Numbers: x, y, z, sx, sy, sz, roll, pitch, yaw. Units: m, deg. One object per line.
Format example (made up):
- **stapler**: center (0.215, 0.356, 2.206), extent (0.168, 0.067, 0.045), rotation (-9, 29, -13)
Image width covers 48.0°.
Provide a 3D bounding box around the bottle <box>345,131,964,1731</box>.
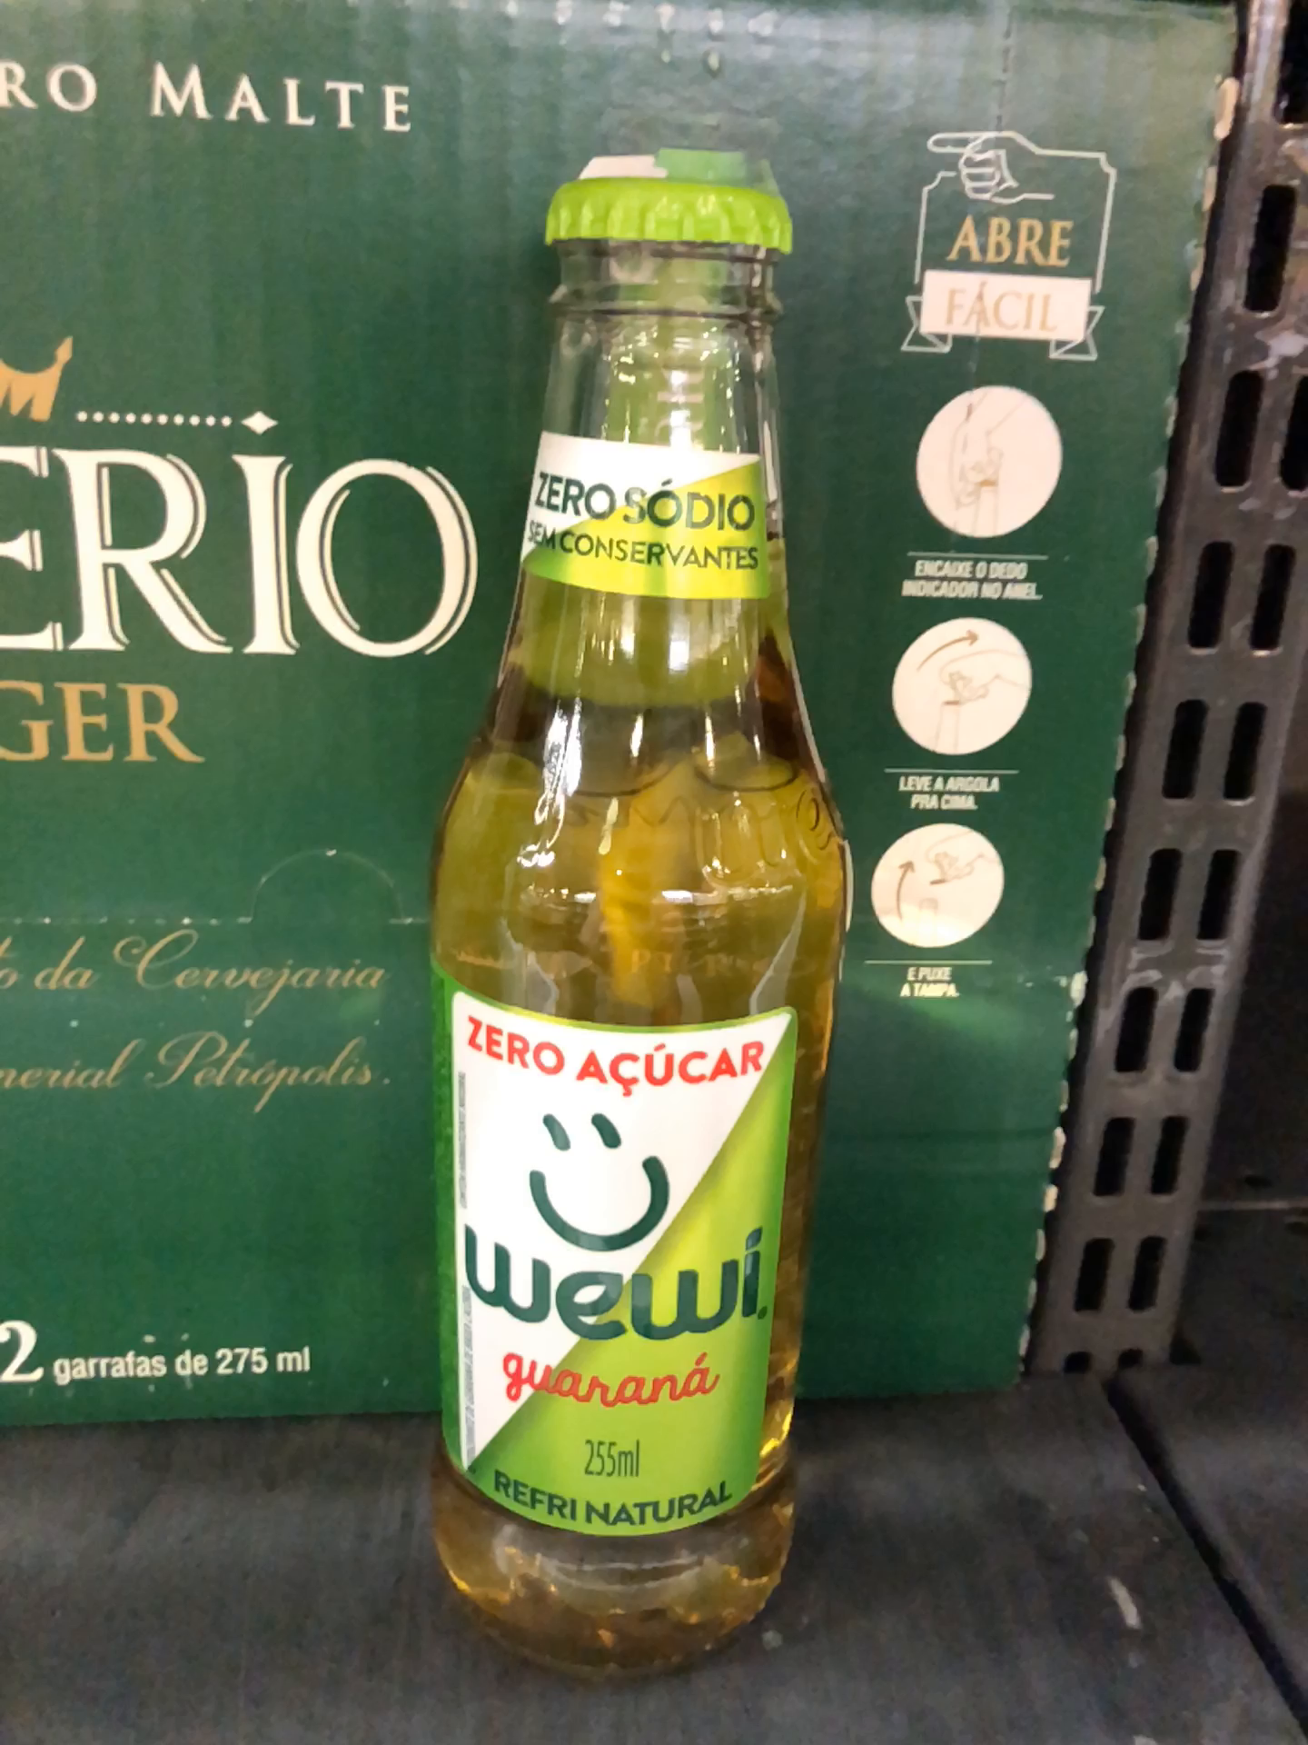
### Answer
- **bottle**: center (-0.002, 0.015, 0.198), extent (0.060, 0.199, 0.050), rotation (5, 20, 6)
